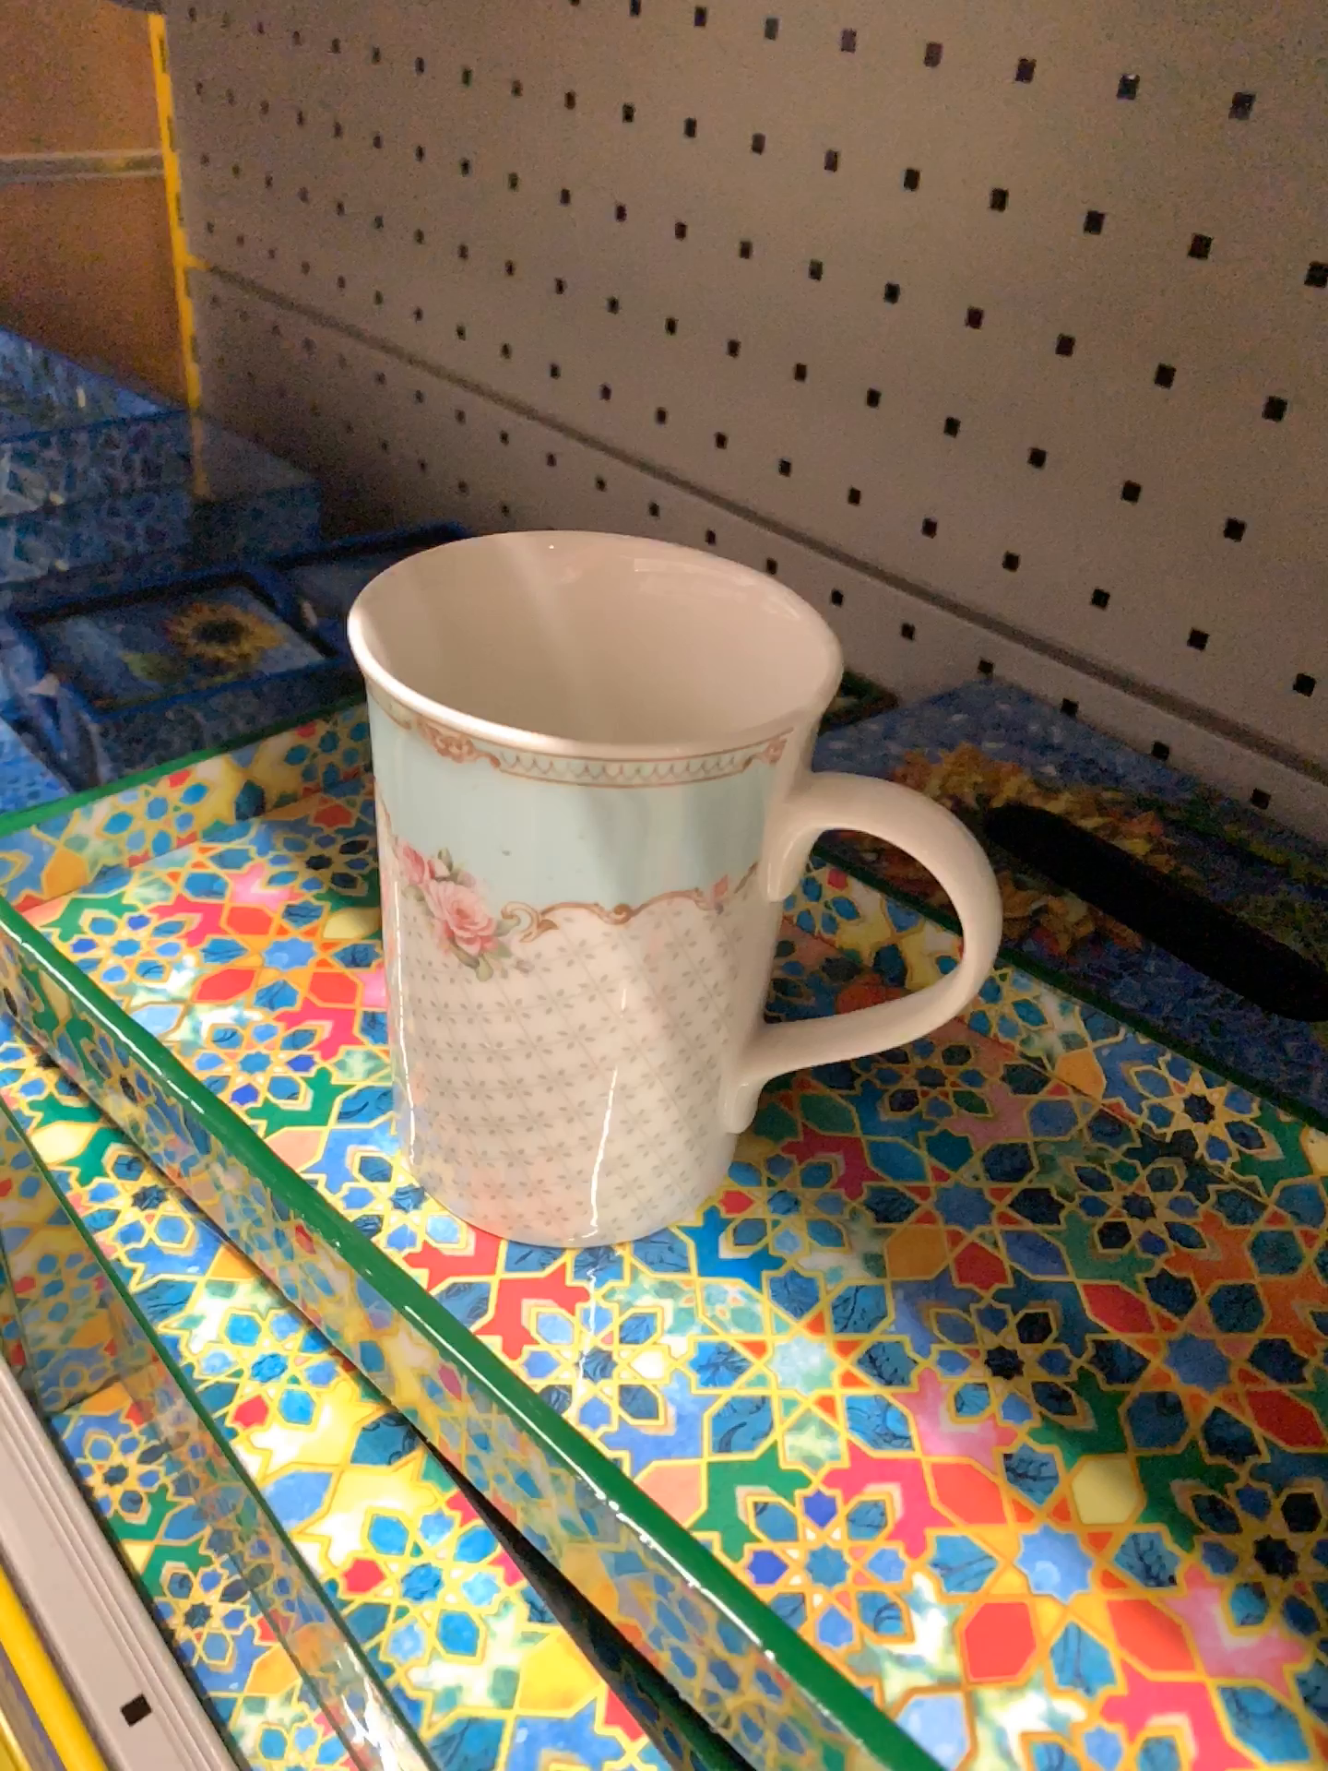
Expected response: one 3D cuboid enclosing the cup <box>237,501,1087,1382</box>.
[{"bbox_3d":[0.001,0.004,0.238,0.110,0.100,0.080,15,35,13],"label":"cup"}]
